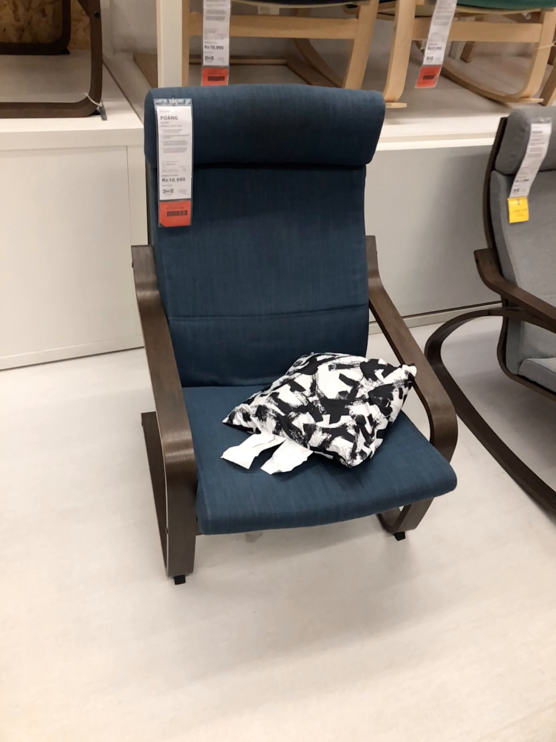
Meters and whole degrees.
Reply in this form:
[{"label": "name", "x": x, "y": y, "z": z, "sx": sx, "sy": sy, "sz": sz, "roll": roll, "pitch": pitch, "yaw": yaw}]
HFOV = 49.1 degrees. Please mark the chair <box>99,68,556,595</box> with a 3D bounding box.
[{"label": "chair", "x": 0.022, "y": -0.105, "z": 1.399, "sx": 0.720, "sy": 0.884, "sz": 0.694, "roll": -6, "pitch": 42, "yaw": -16}]
